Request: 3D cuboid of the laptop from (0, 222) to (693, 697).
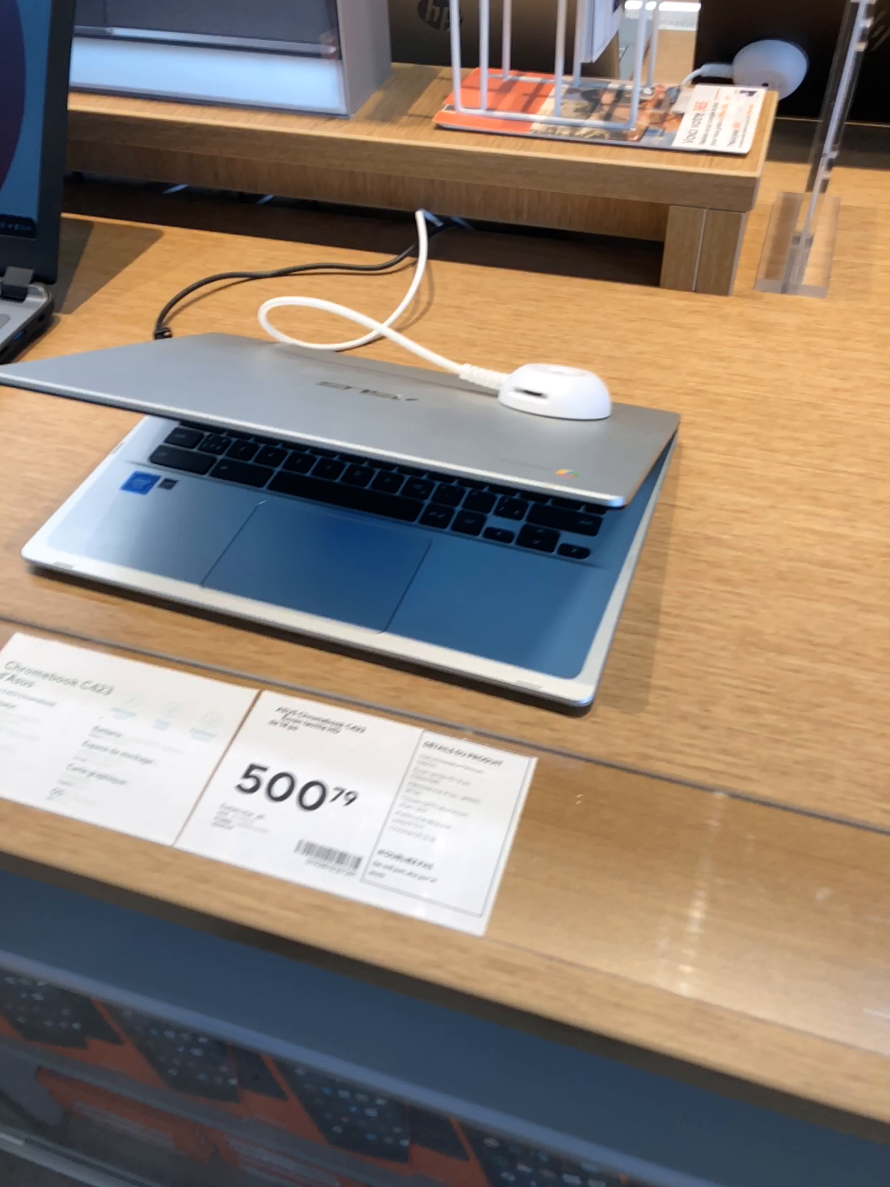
[{"bbox_3d":[-0.044,-0.089,0.524,0.304,0.080,0.206,14,51,13],"label":"laptop"}]
